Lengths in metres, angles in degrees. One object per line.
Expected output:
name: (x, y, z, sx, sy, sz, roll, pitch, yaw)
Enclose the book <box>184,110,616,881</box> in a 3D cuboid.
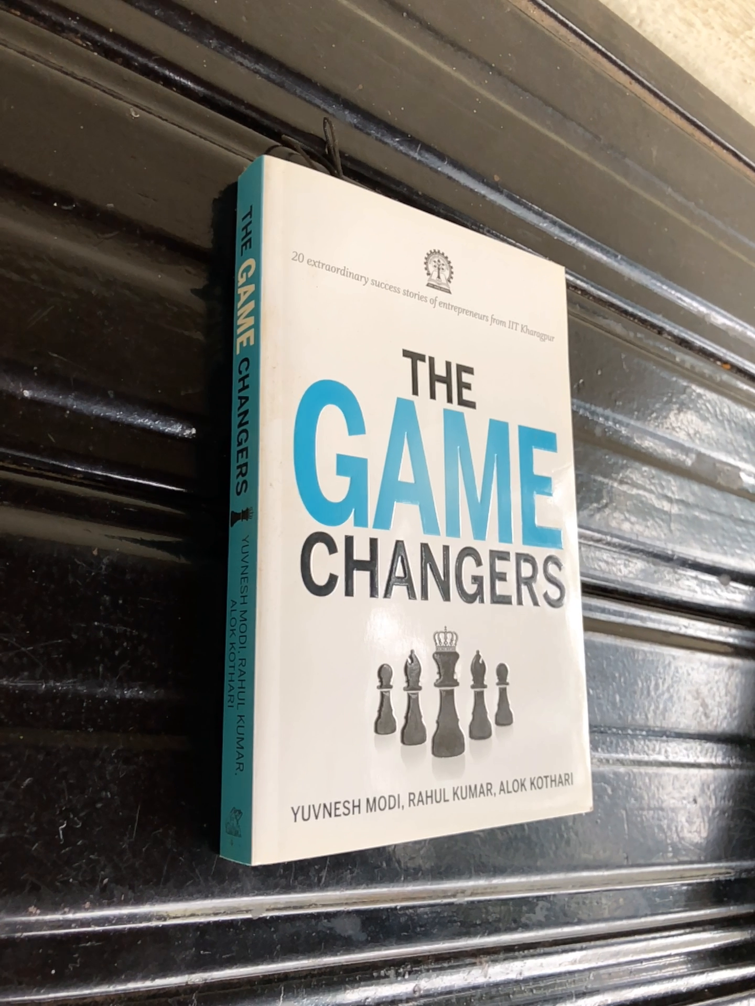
book: (0.013, -0.002, 0.276, 0.141, 0.030, 0.210, 7, 77, -34)
